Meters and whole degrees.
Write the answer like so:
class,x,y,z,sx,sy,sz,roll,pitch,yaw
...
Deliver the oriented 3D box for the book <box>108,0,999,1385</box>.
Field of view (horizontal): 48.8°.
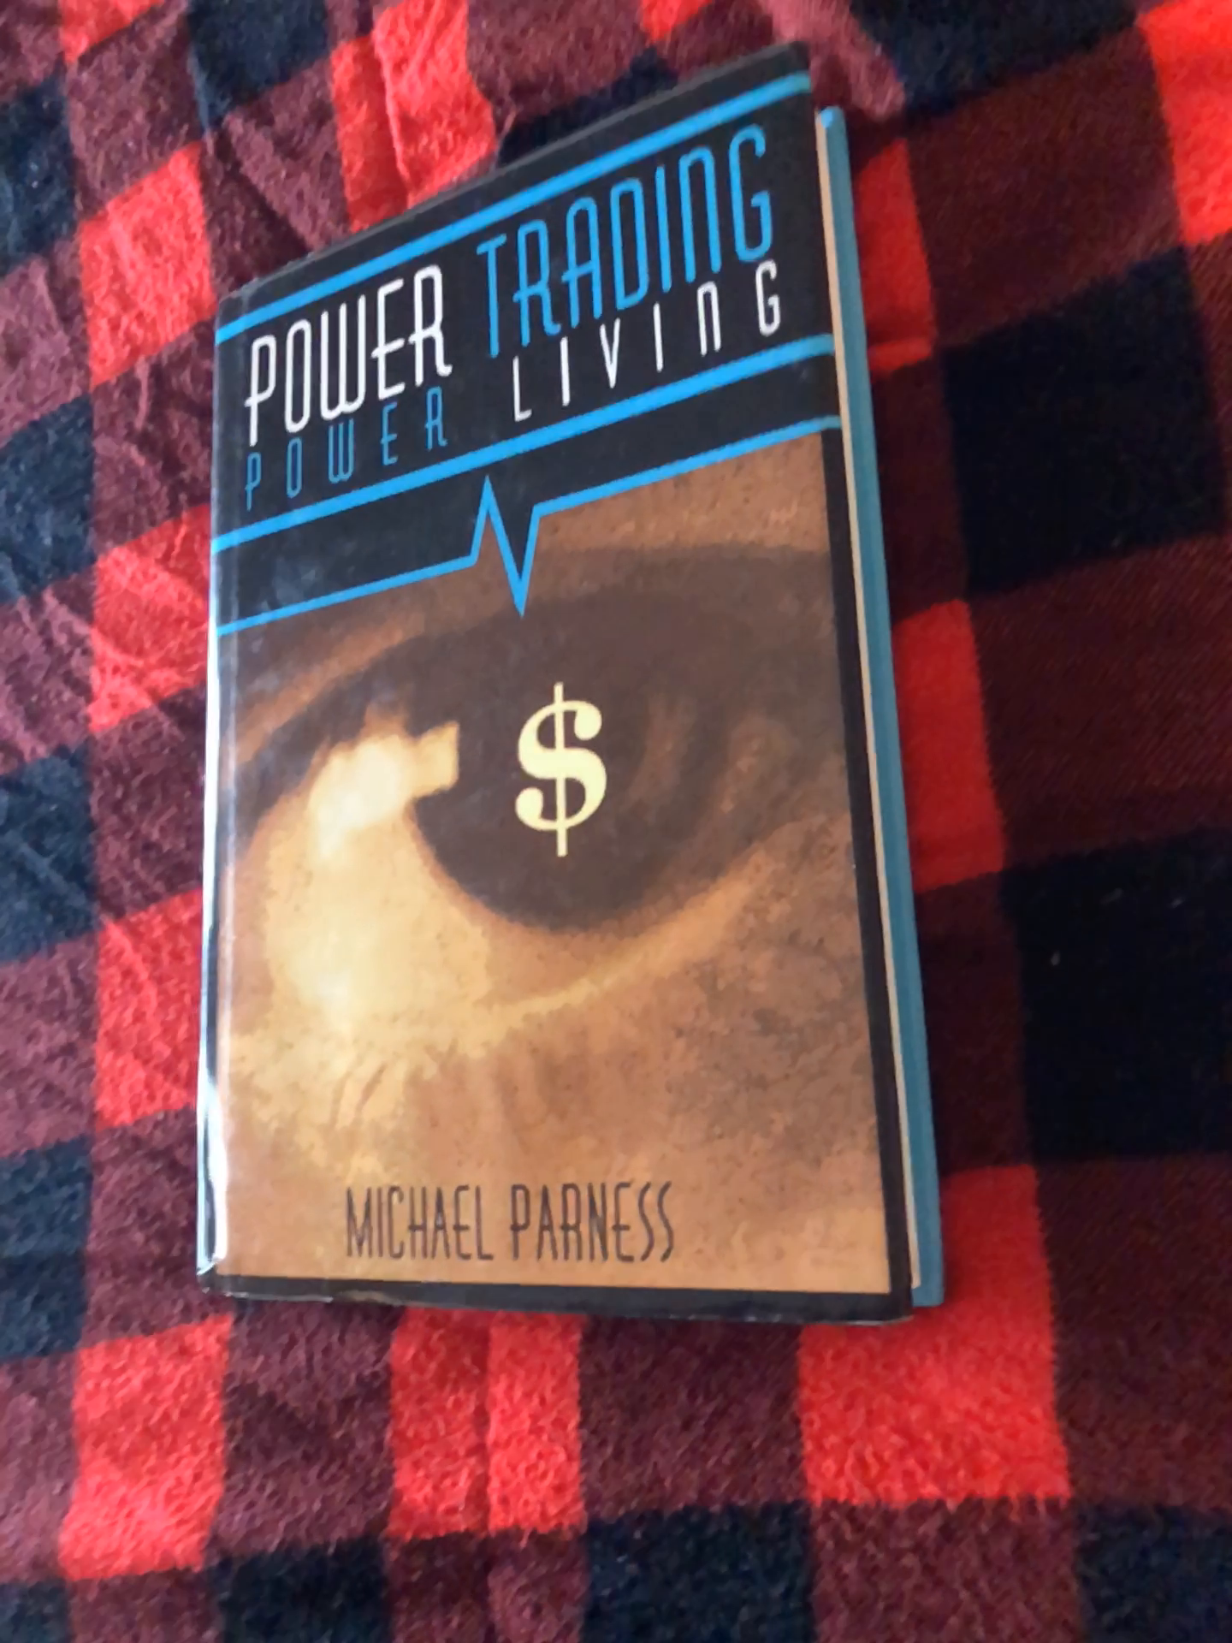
class,x,y,z,sx,sy,sz,roll,pitch,yaw
book,-0.026,-0.023,0.274,0.171,0.040,0.240,-9,78,28
